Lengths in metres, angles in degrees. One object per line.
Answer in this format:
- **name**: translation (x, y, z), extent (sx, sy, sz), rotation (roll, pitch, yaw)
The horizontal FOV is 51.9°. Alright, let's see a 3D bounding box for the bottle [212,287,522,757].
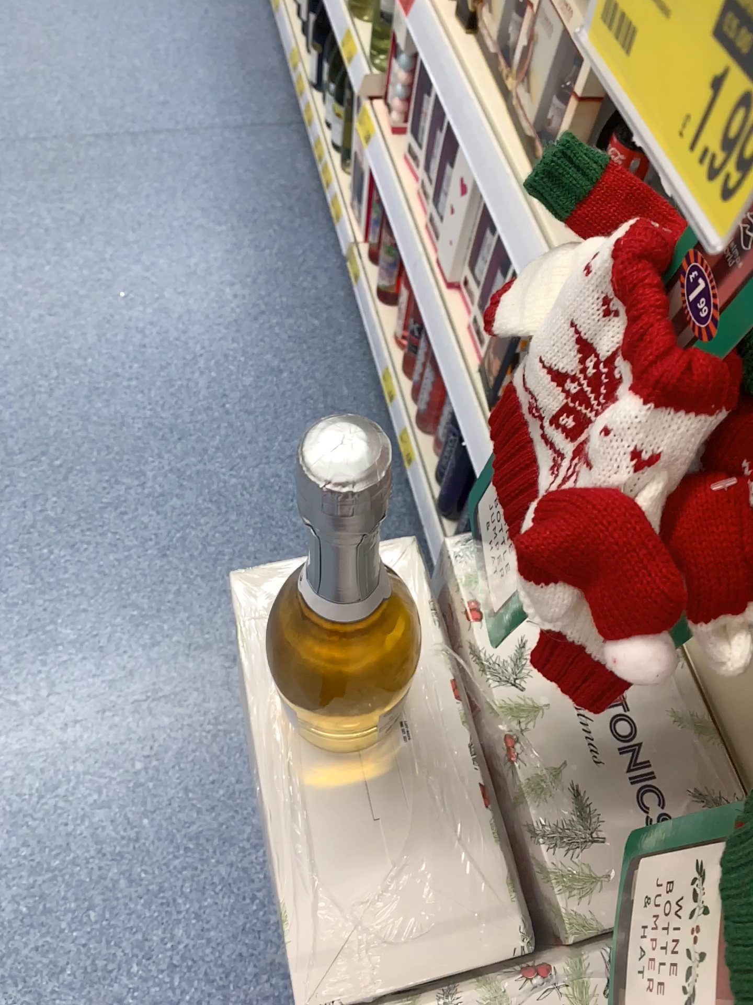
- **bottle**: translation (-0.012, 0.042, 0.393), extent (0.095, 0.299, 0.095), rotation (3, 60, -5)
